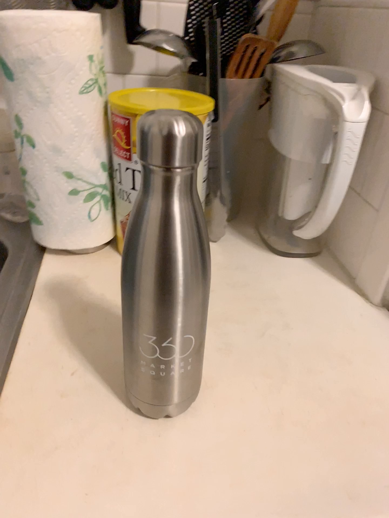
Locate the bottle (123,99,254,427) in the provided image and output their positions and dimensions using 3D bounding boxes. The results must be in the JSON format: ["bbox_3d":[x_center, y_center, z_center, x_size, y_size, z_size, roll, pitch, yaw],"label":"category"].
[{"bbox_3d":[-0.013,0.018,0.307,0.070,0.249,0.070,4,31,-2],"label":"bottle"}]
